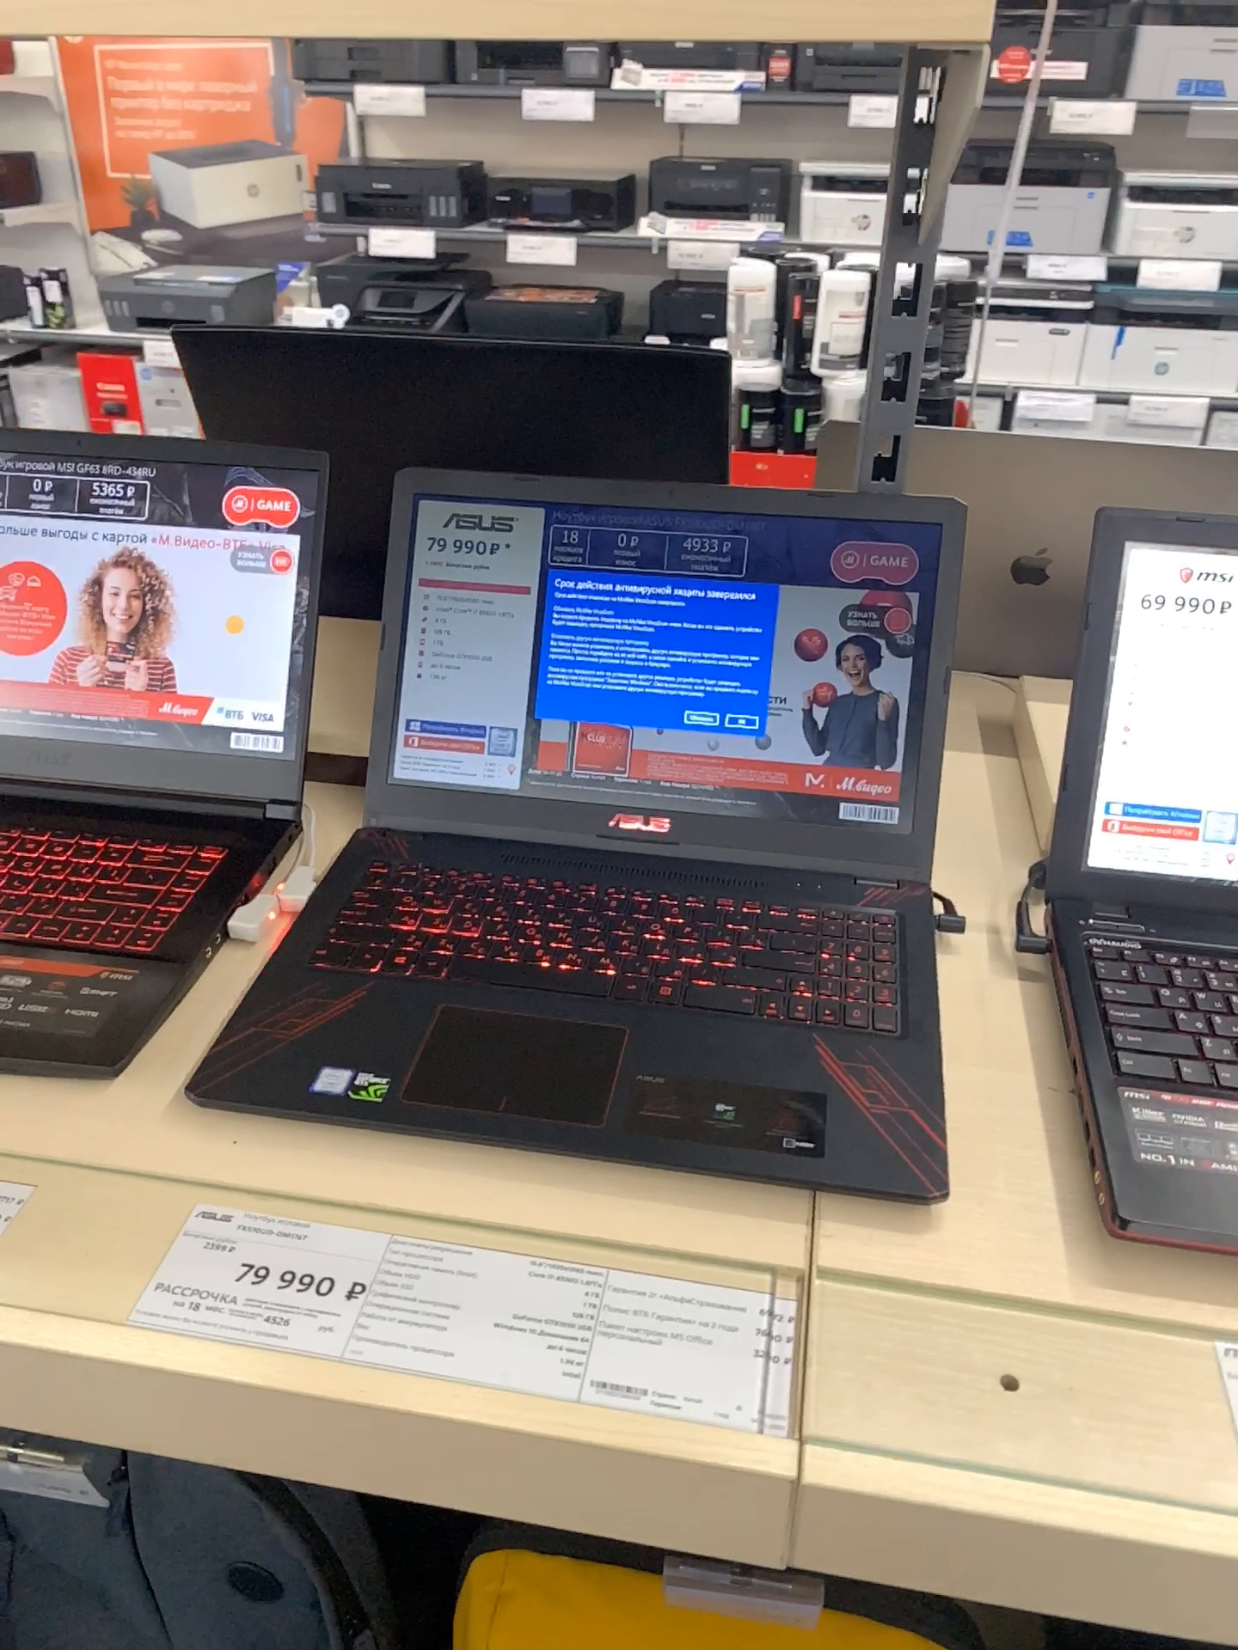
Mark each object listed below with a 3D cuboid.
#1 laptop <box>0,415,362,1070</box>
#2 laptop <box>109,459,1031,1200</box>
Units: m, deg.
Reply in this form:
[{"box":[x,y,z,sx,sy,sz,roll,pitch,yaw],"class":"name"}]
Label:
[{"box":[-0.386,-0.078,0.745,0.338,0.209,0.355,6,32,7],"class":"laptop"},{"box":[0.003,-0.038,0.699,0.365,0.199,0.384,5,32,9],"class":"laptop"}]
